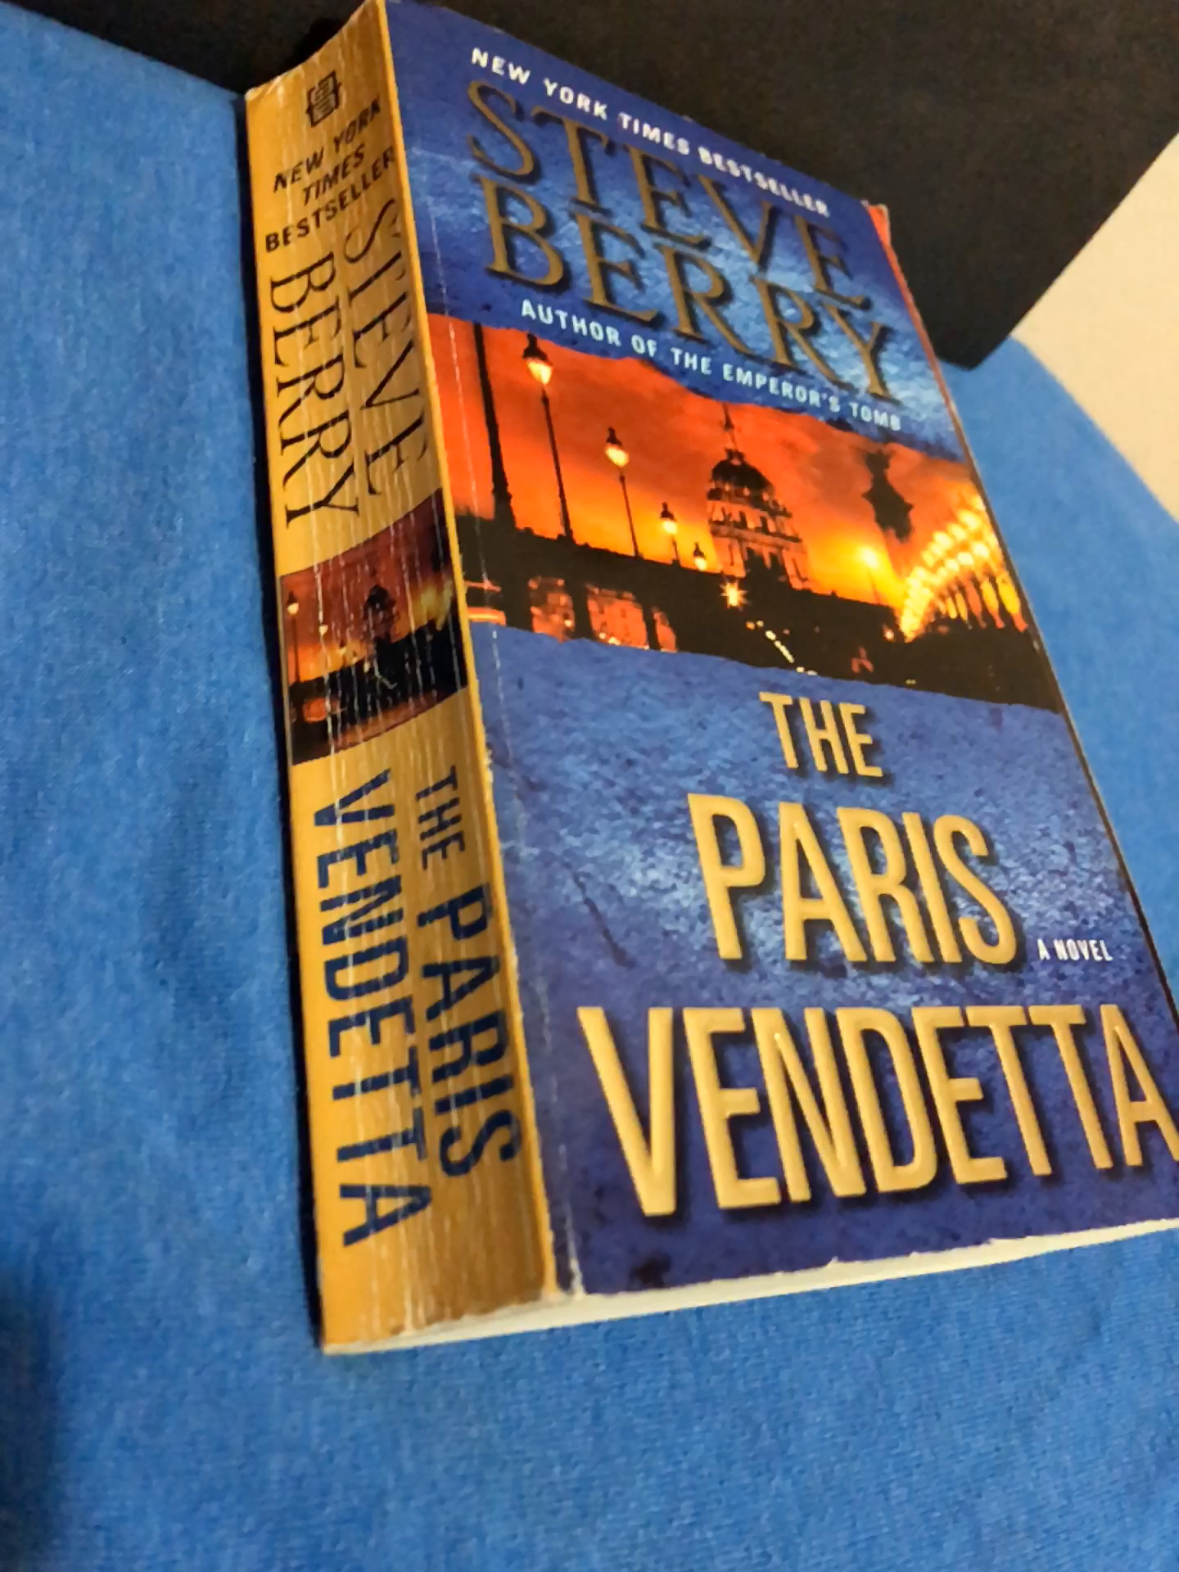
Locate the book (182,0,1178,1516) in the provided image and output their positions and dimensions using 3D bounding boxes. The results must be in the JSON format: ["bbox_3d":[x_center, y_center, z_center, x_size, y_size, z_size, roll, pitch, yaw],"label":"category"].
[{"bbox_3d":[0.015,-0.021,0.193,0.121,0.050,0.200,9,57,-37],"label":"book"}]
